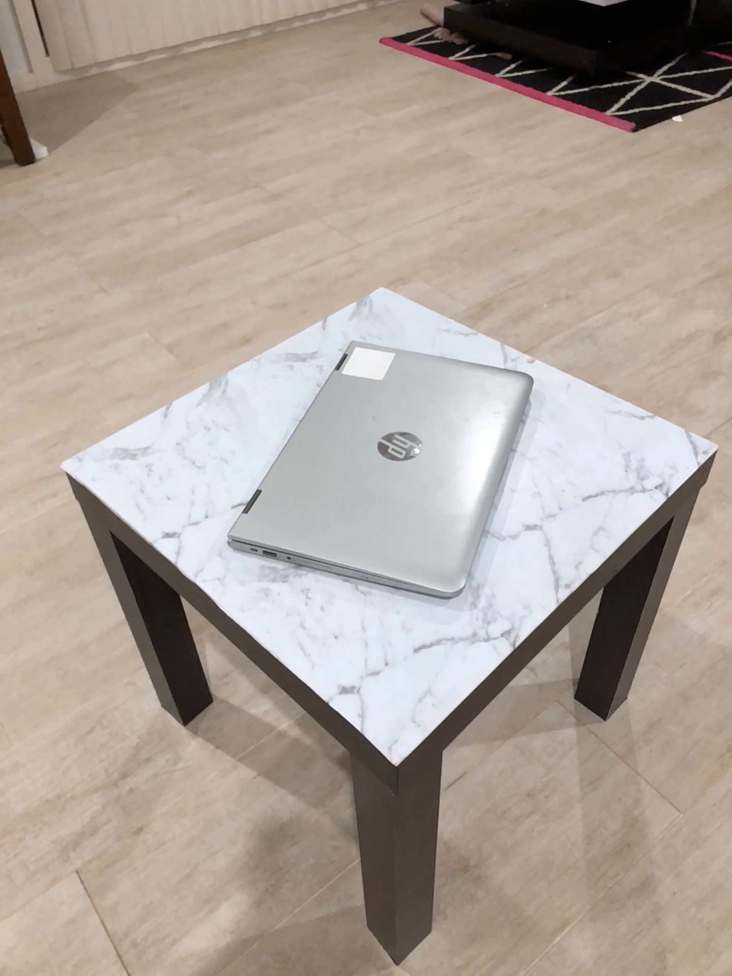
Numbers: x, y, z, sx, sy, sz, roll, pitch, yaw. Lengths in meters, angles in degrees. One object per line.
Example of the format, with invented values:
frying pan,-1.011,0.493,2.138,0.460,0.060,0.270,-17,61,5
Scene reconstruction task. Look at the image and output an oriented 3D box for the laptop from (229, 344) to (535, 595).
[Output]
laptop,0.028,-0.036,0.741,0.197,0.001,0.293,13,46,16
